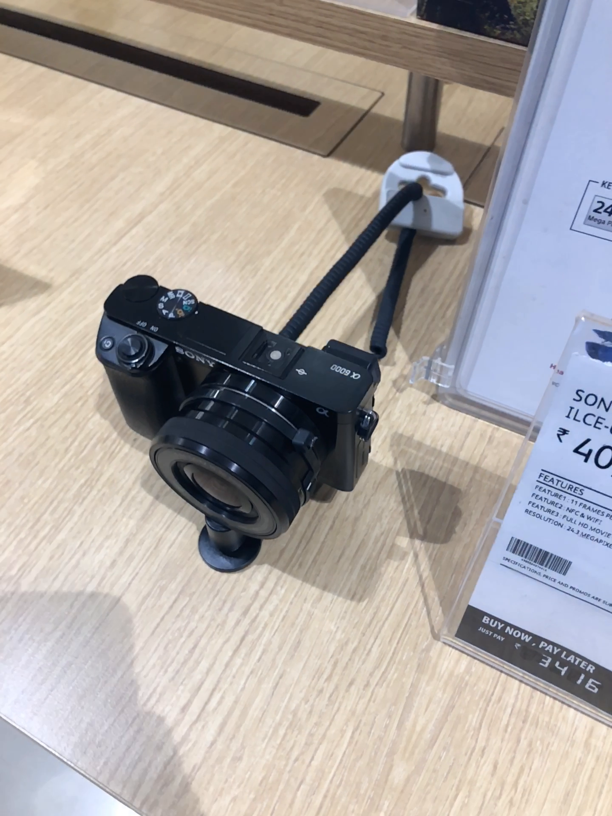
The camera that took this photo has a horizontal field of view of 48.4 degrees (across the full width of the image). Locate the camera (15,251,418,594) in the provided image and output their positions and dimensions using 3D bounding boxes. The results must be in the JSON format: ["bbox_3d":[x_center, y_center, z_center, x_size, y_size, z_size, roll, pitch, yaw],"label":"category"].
[{"bbox_3d":[-0.032,0.004,0.278,0.130,0.070,0.070,22,58,16],"label":"camera"}]
